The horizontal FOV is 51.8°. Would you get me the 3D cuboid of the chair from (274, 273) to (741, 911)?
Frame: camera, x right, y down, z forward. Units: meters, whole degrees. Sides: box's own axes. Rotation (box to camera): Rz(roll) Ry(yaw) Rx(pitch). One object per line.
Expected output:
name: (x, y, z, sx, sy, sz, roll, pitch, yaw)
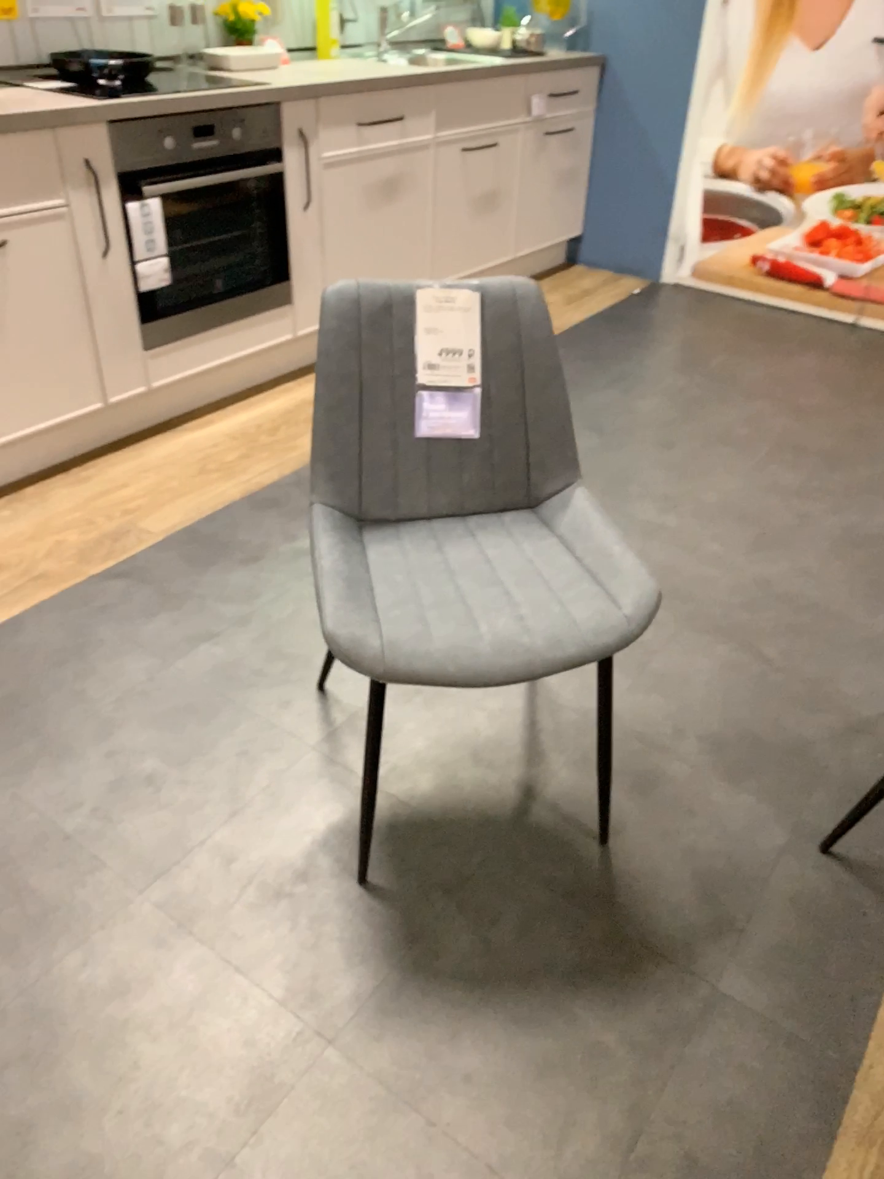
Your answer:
chair: (0.032, -0.014, 1.527, 0.523, 0.833, 0.592, -6, 35, -11)
